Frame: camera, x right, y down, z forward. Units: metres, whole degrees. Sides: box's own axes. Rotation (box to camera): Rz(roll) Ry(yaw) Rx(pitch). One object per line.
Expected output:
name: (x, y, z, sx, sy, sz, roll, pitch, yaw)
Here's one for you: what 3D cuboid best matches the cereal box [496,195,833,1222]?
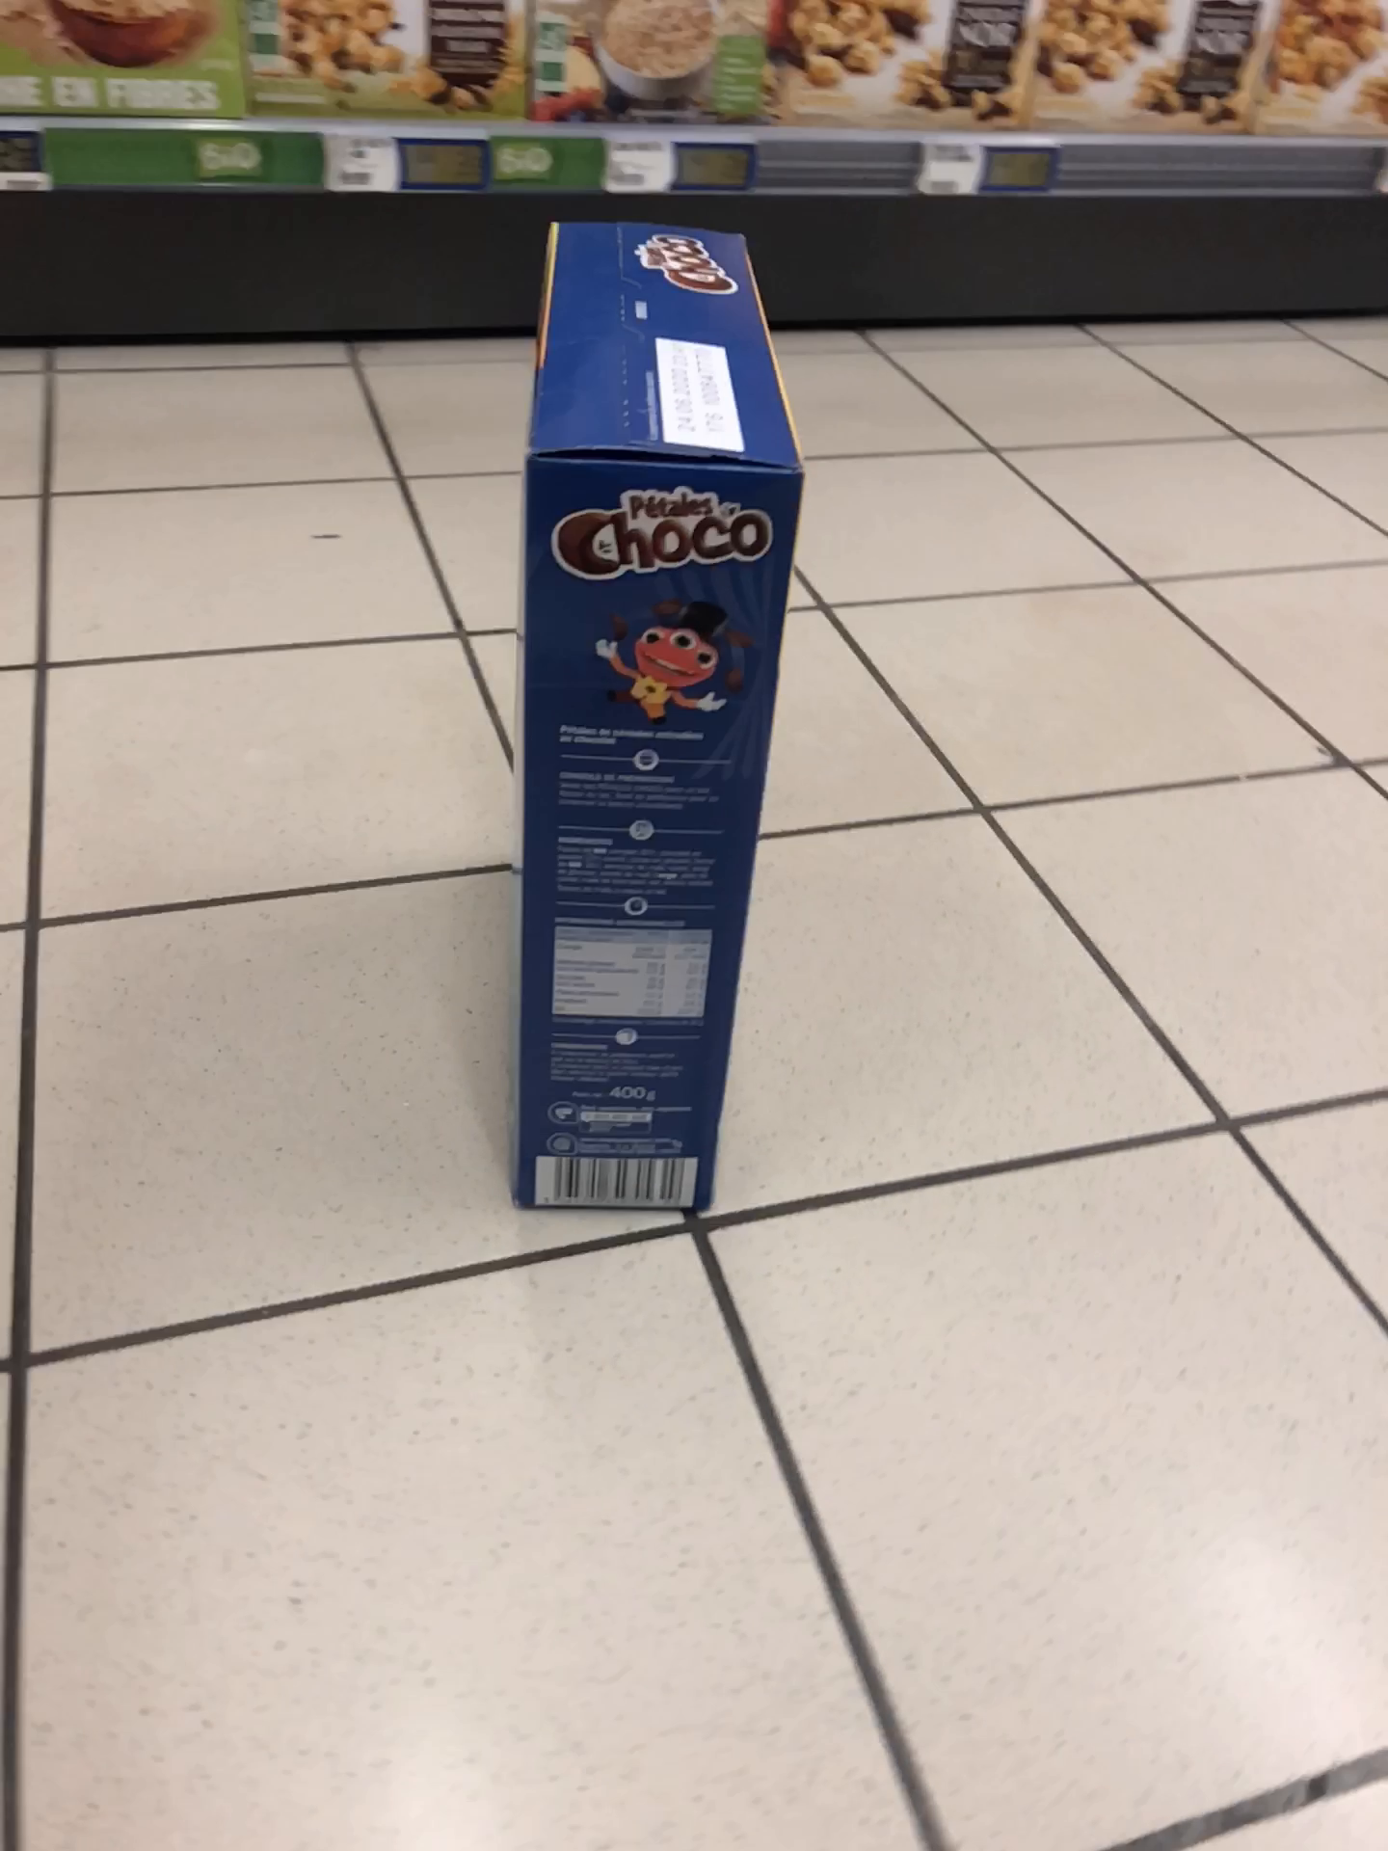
cereal box: (-0.021, -0.068, 0.480, 0.070, 0.248, 0.201, 2, 38, -5)
